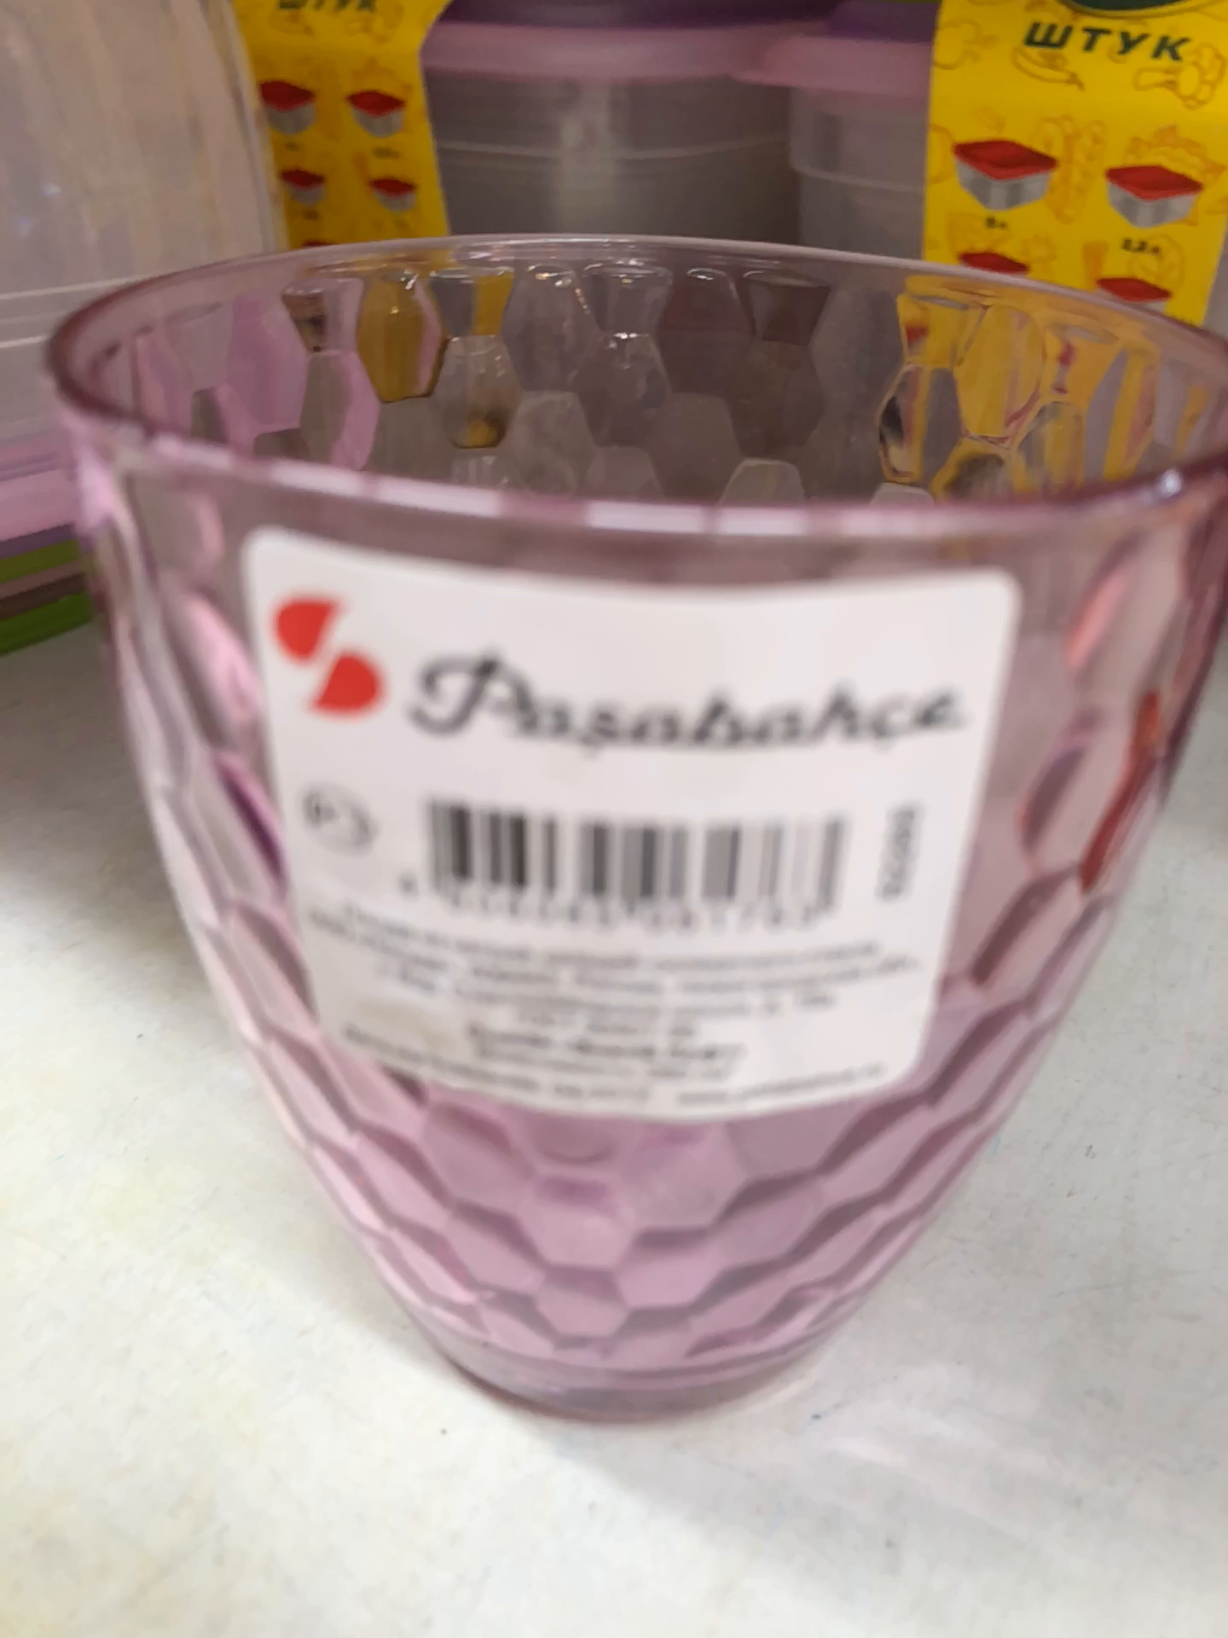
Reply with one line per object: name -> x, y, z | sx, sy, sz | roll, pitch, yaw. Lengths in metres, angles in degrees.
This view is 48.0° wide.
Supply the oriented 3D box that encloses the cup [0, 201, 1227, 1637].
cup -> 0.006, -0.001, 0.111 | 0.090, 0.074, 0.078 | 10, 33, 12
